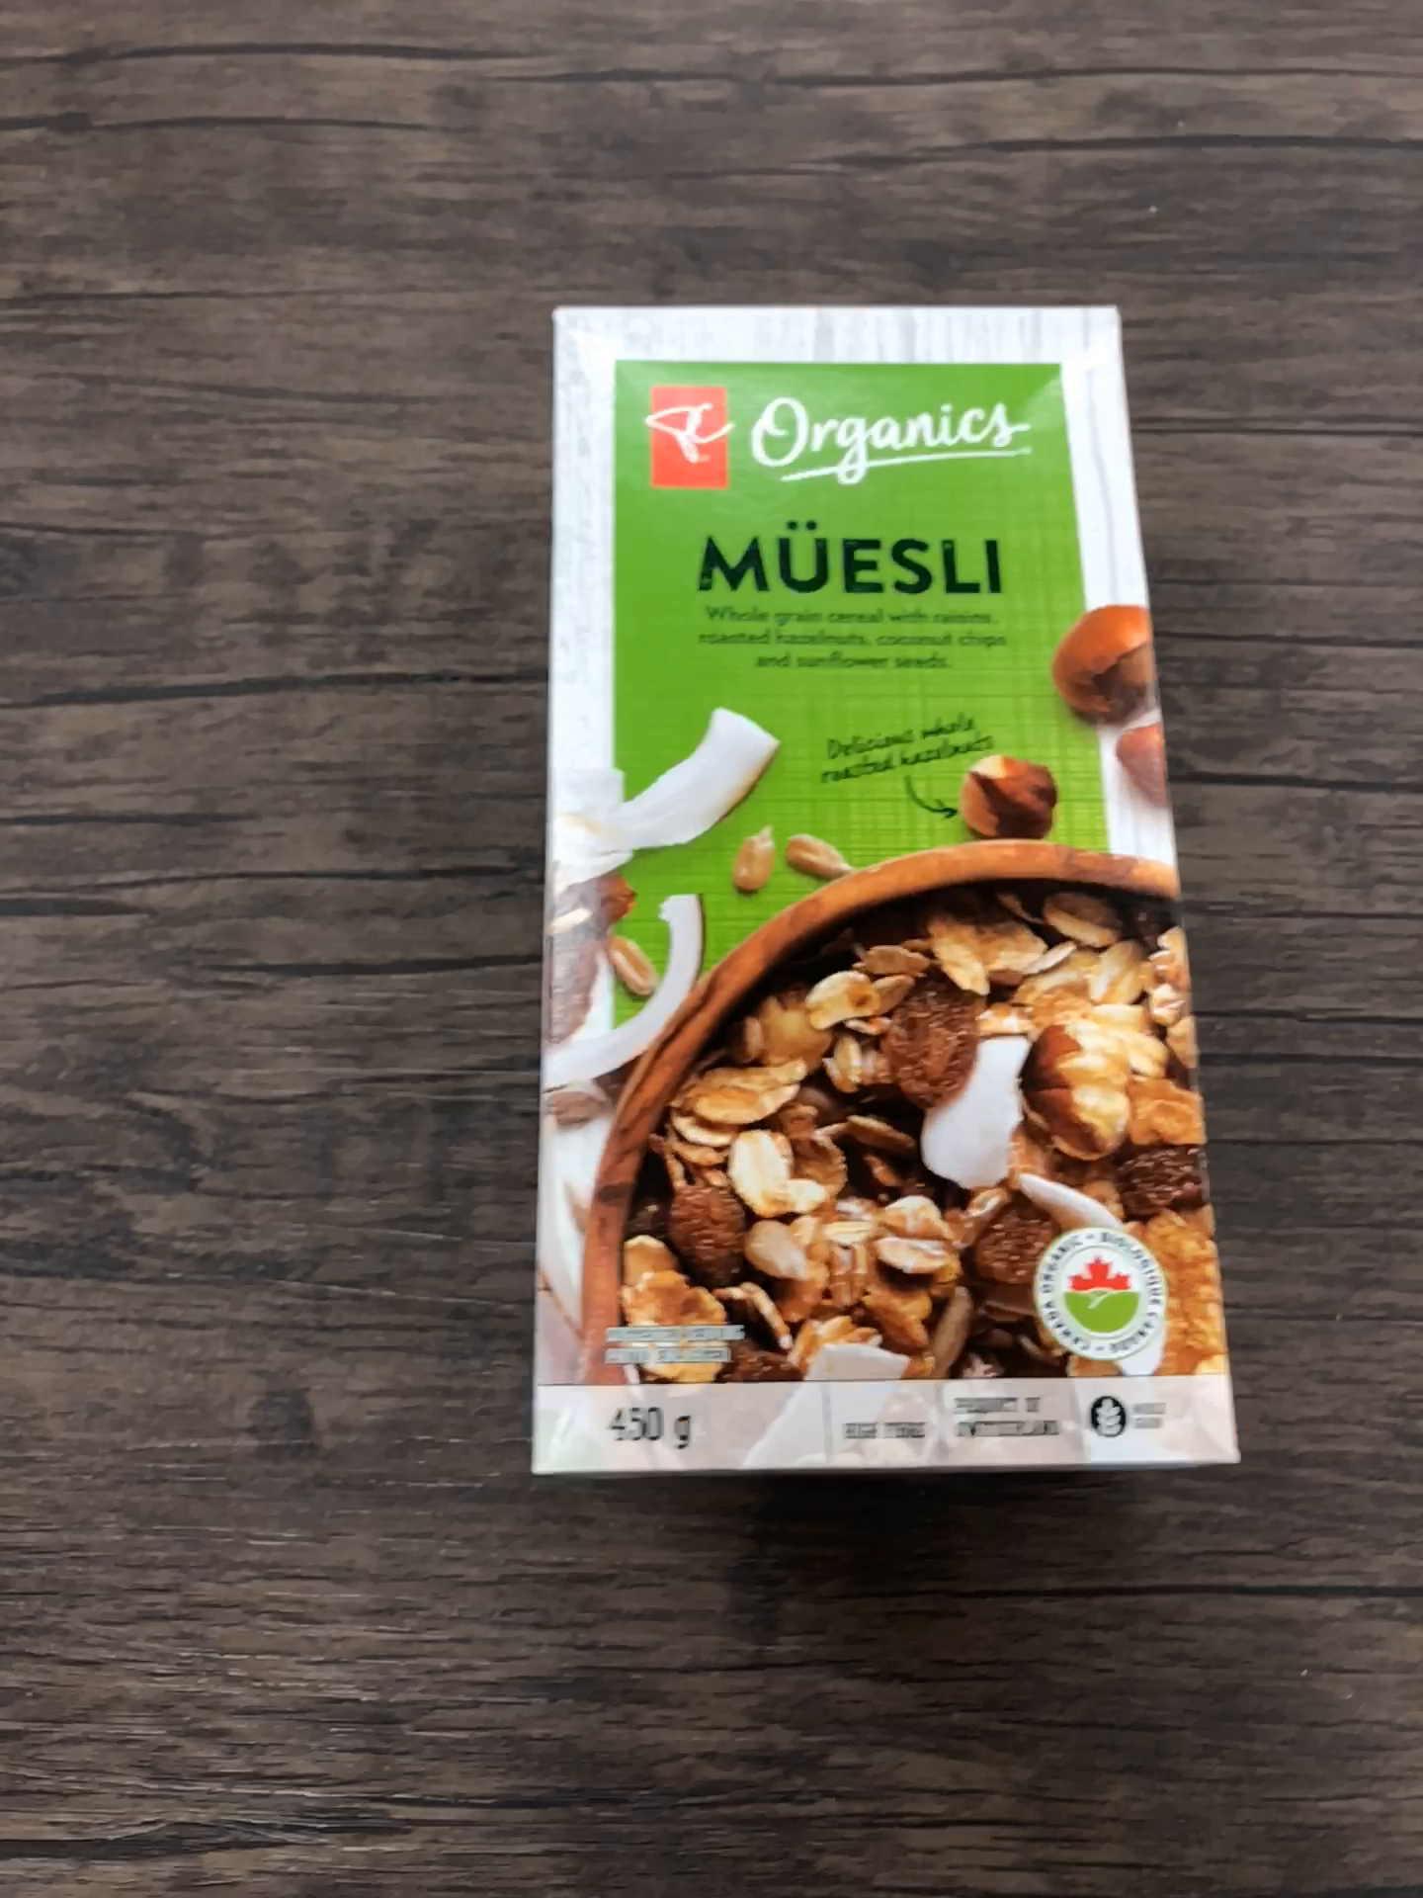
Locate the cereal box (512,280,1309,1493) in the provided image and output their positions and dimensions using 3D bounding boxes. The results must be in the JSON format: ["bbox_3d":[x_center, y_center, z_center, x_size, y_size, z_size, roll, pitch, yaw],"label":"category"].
[{"bbox_3d":[0.030,-0.014,0.325,0.130,0.070,0.230,-1,74,0],"label":"cereal box"}]
